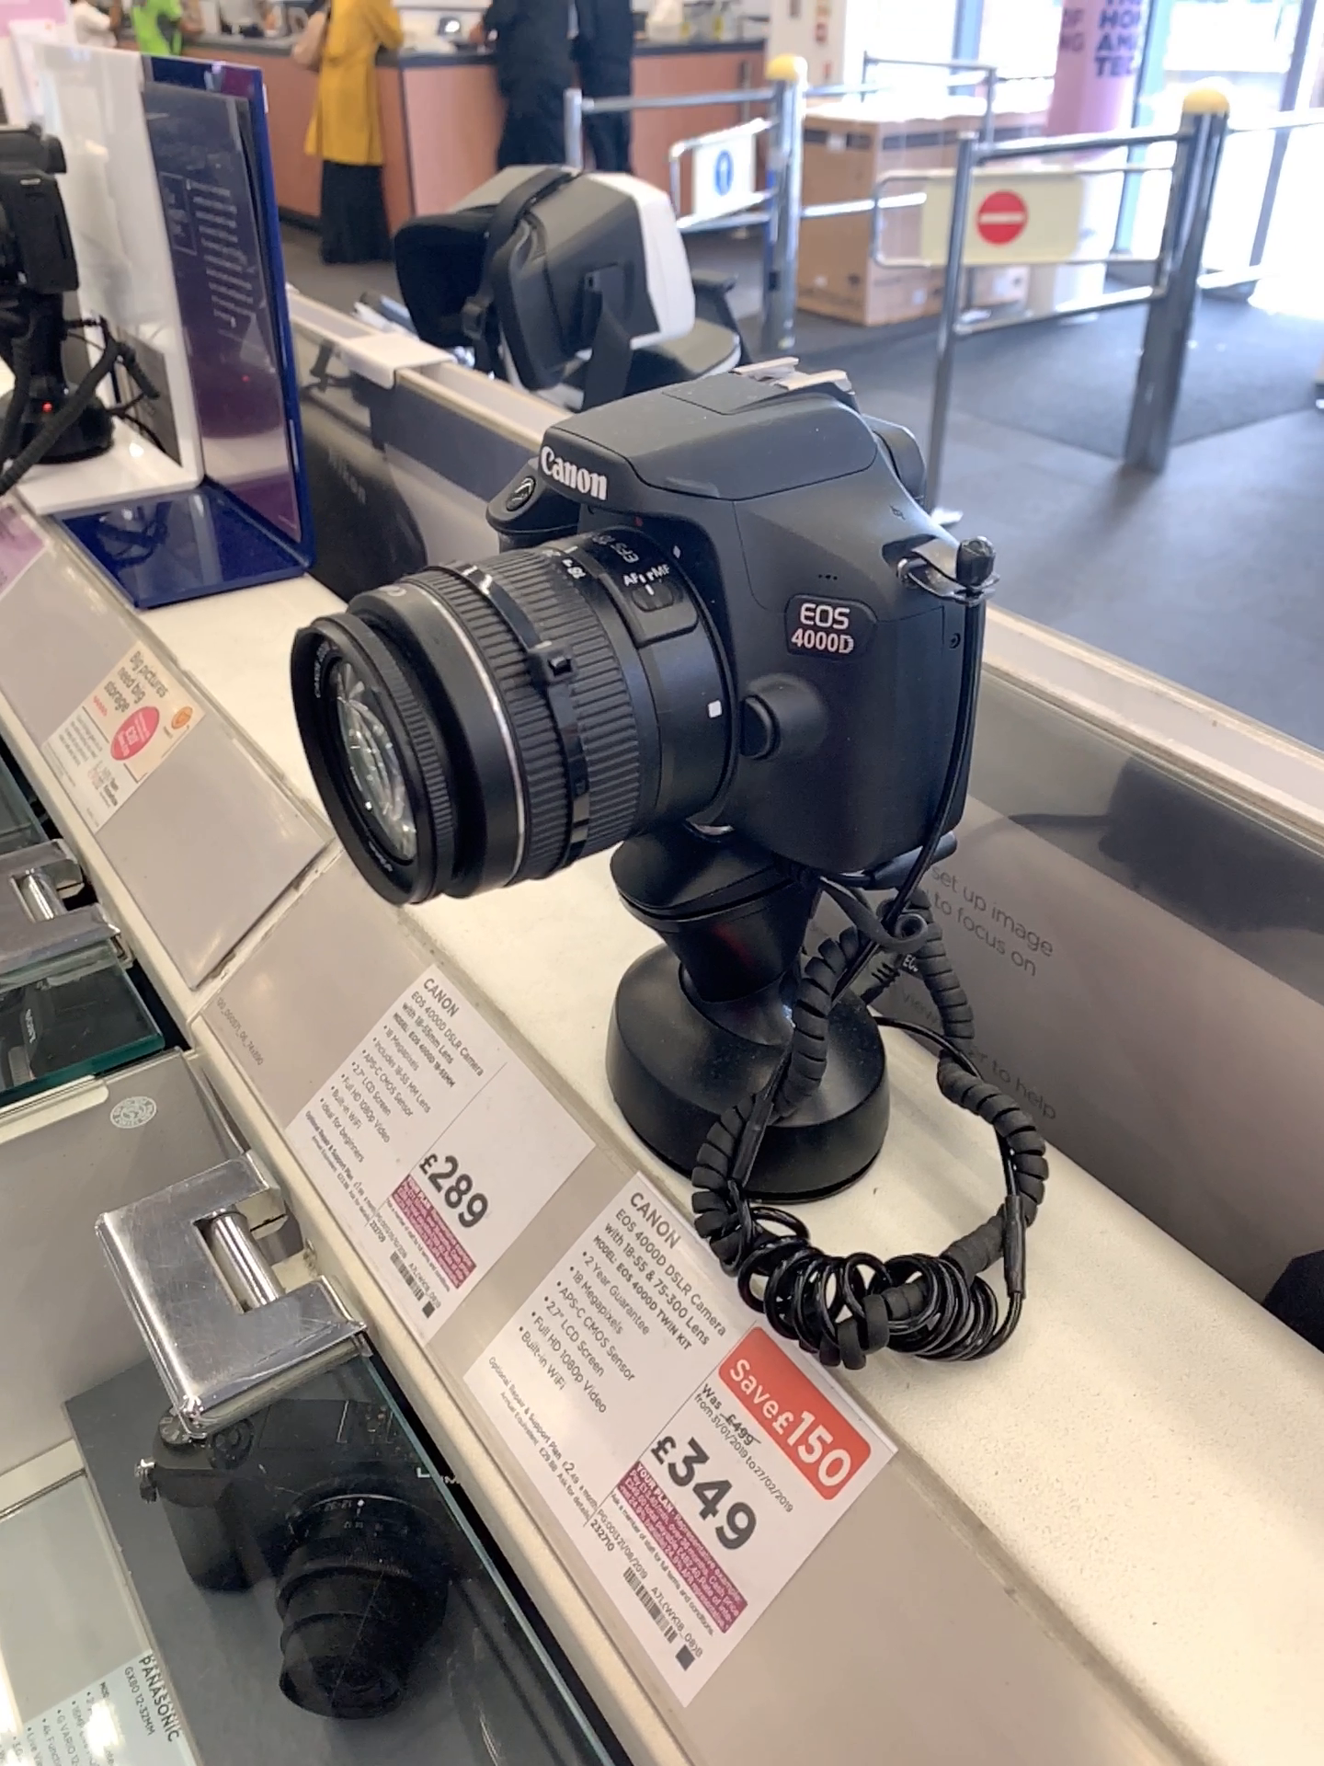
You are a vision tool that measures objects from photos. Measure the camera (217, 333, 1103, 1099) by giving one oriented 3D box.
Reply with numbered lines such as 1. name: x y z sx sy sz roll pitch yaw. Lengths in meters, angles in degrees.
1. camera: -0.007 -0.054 0.317 0.136 0.101 0.141 -19 37 -25
